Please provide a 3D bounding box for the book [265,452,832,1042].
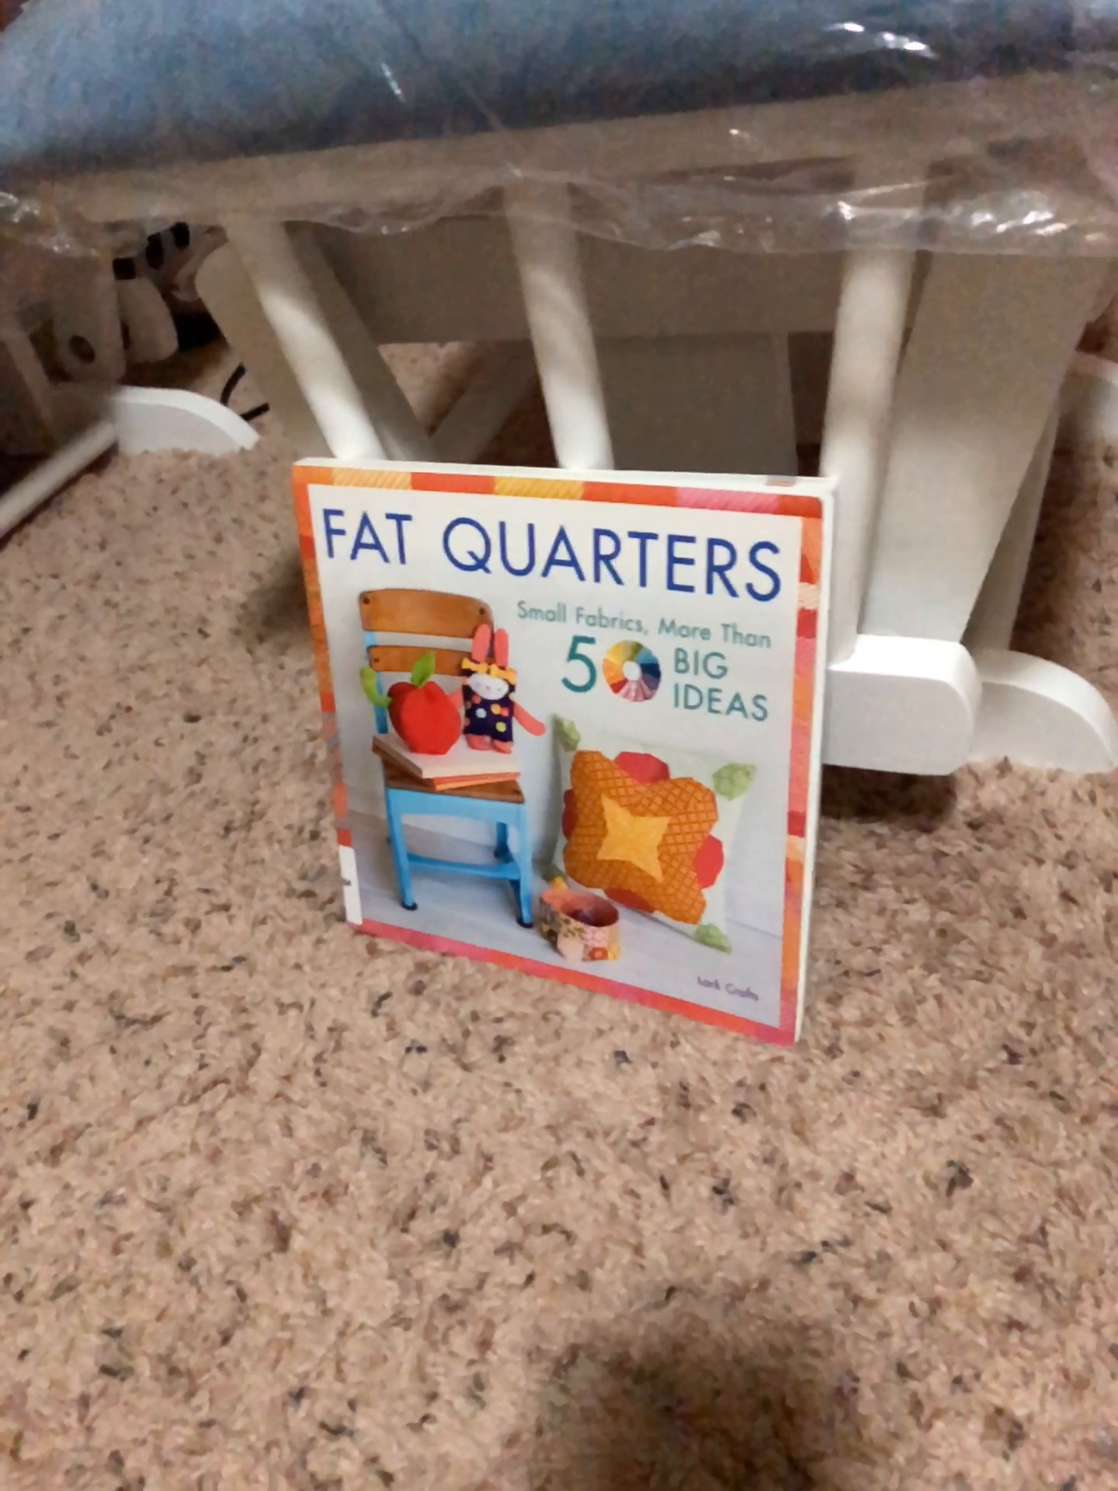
[{"bbox_3d":[-0.008,-0.005,0.462,0.207,0.193,0.030,9,24,28],"label":"book"}]
